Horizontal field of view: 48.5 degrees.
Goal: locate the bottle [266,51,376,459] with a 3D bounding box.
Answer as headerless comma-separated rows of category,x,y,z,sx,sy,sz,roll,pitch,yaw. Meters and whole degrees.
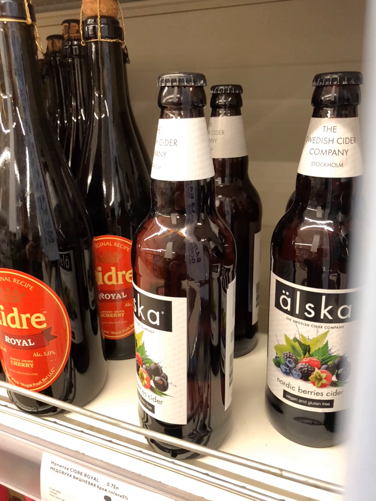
bottle,0.095,0.009,0.274,0.070,0.244,0.063,4,19,16

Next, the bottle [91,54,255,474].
bottle,-0.009,0.010,0.256,0.063,0.229,0.070,-10,21,-25

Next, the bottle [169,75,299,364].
bottle,0.038,-0.028,0.378,0.076,0.235,0.075,-1,19,0
